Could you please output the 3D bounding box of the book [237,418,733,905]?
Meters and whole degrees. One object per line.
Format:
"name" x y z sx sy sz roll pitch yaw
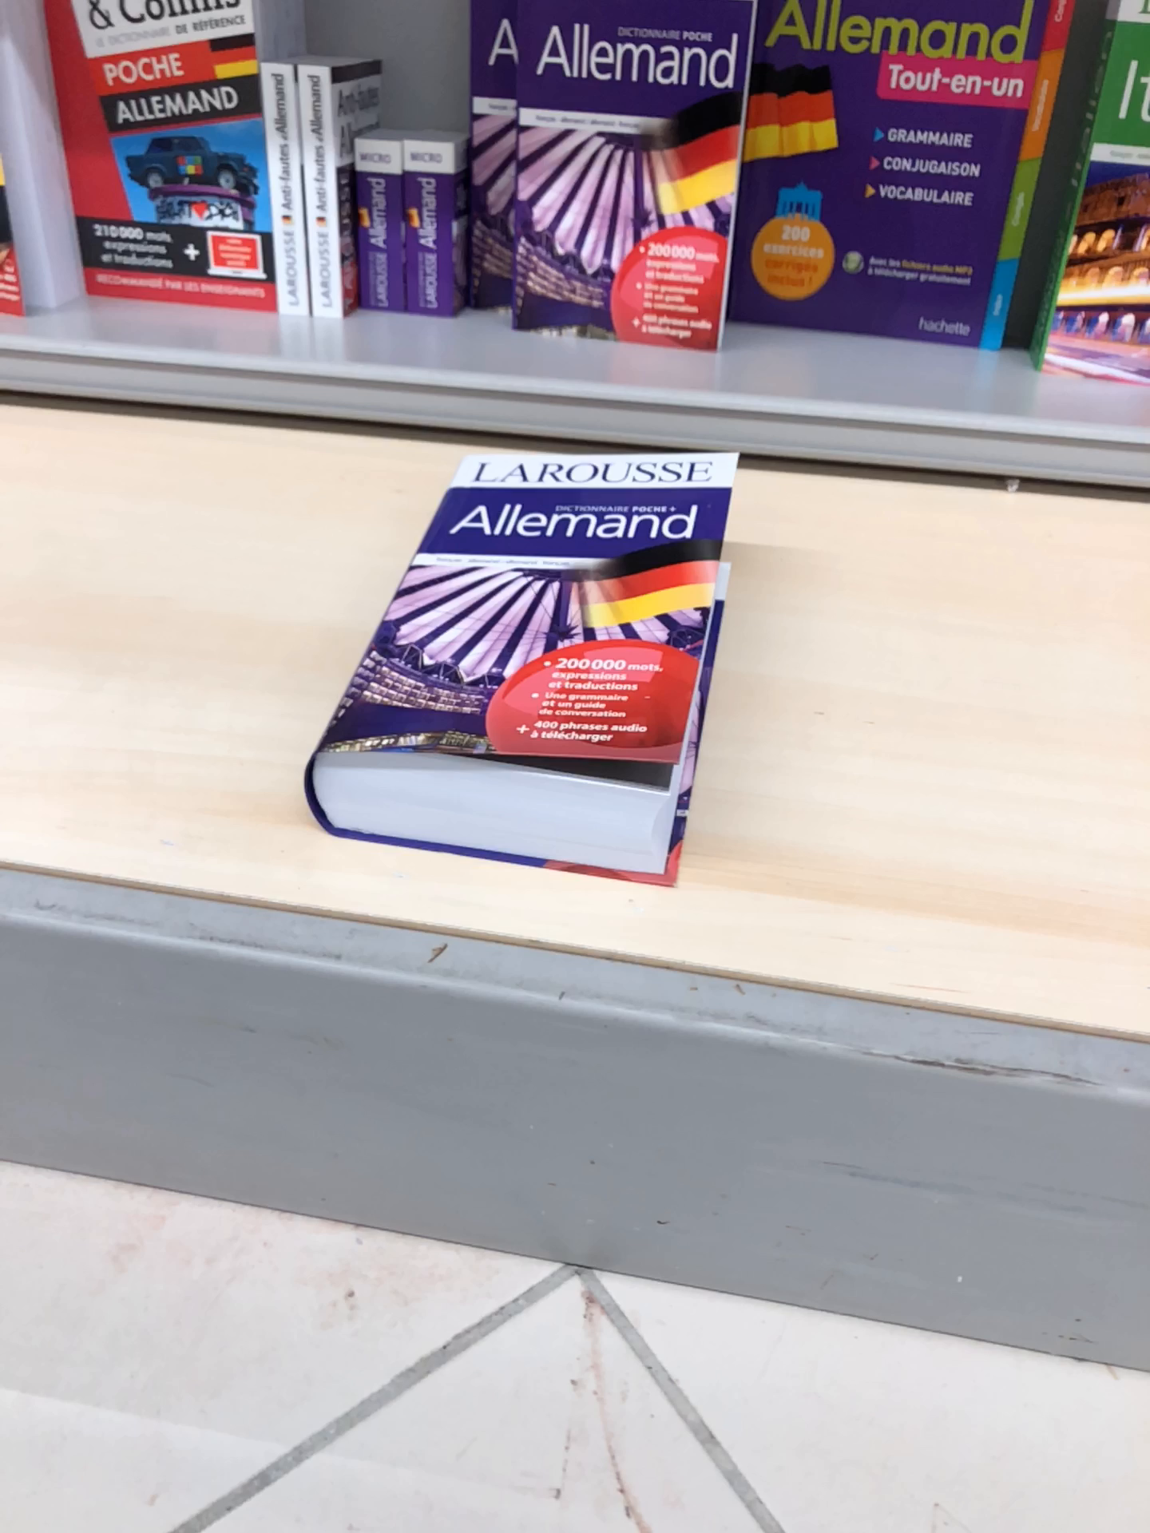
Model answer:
"book" -0.018 -0.046 0.428 0.120 0.050 0.182 8 43 8
